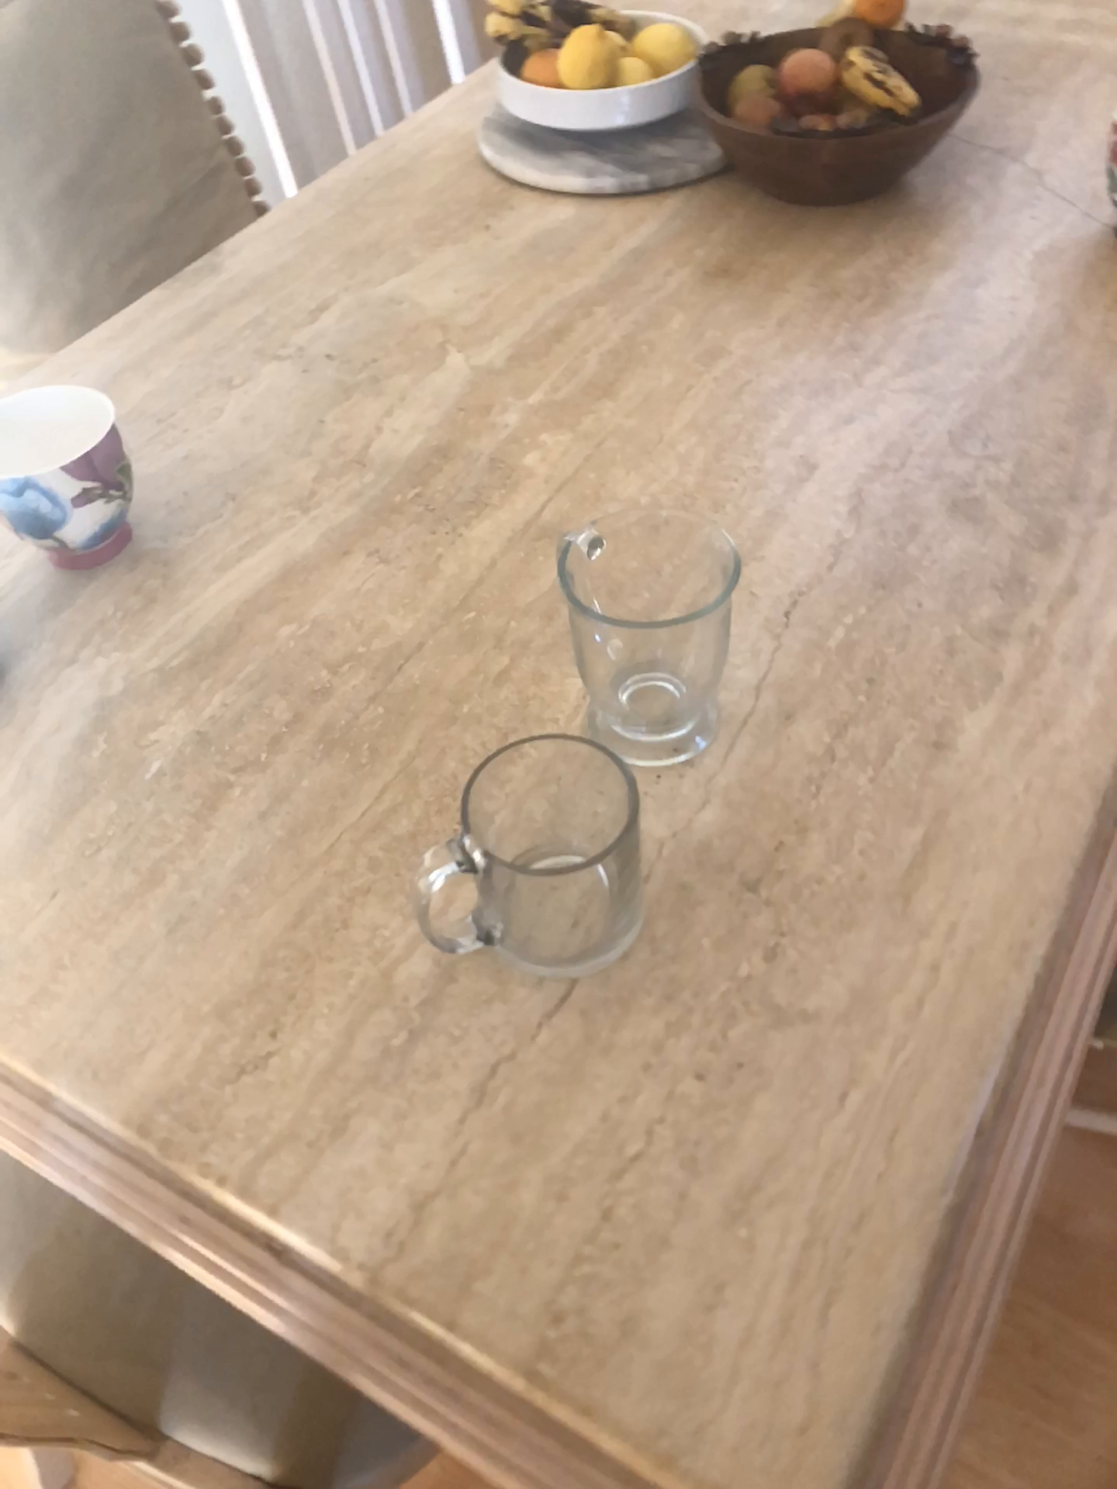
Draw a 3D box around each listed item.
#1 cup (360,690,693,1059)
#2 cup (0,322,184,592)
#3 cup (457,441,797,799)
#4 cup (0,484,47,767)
[{"bbox_3d":[-0.012,0.065,0.620,0.130,0.109,0.090,-28,51,-18],"label":"cup"},{"bbox_3d":[-0.370,-0.208,0.874,0.101,0.099,0.170,-38,54,-25],"label":"cup"},{"bbox_3d":[0.039,-0.075,0.702,0.111,0.109,0.150,-36,54,-24],"label":"cup"},{"bbox_3d":[-0.425,-0.079,0.793,0.130,0.109,0.091,32,58,30],"label":"cup"}]
